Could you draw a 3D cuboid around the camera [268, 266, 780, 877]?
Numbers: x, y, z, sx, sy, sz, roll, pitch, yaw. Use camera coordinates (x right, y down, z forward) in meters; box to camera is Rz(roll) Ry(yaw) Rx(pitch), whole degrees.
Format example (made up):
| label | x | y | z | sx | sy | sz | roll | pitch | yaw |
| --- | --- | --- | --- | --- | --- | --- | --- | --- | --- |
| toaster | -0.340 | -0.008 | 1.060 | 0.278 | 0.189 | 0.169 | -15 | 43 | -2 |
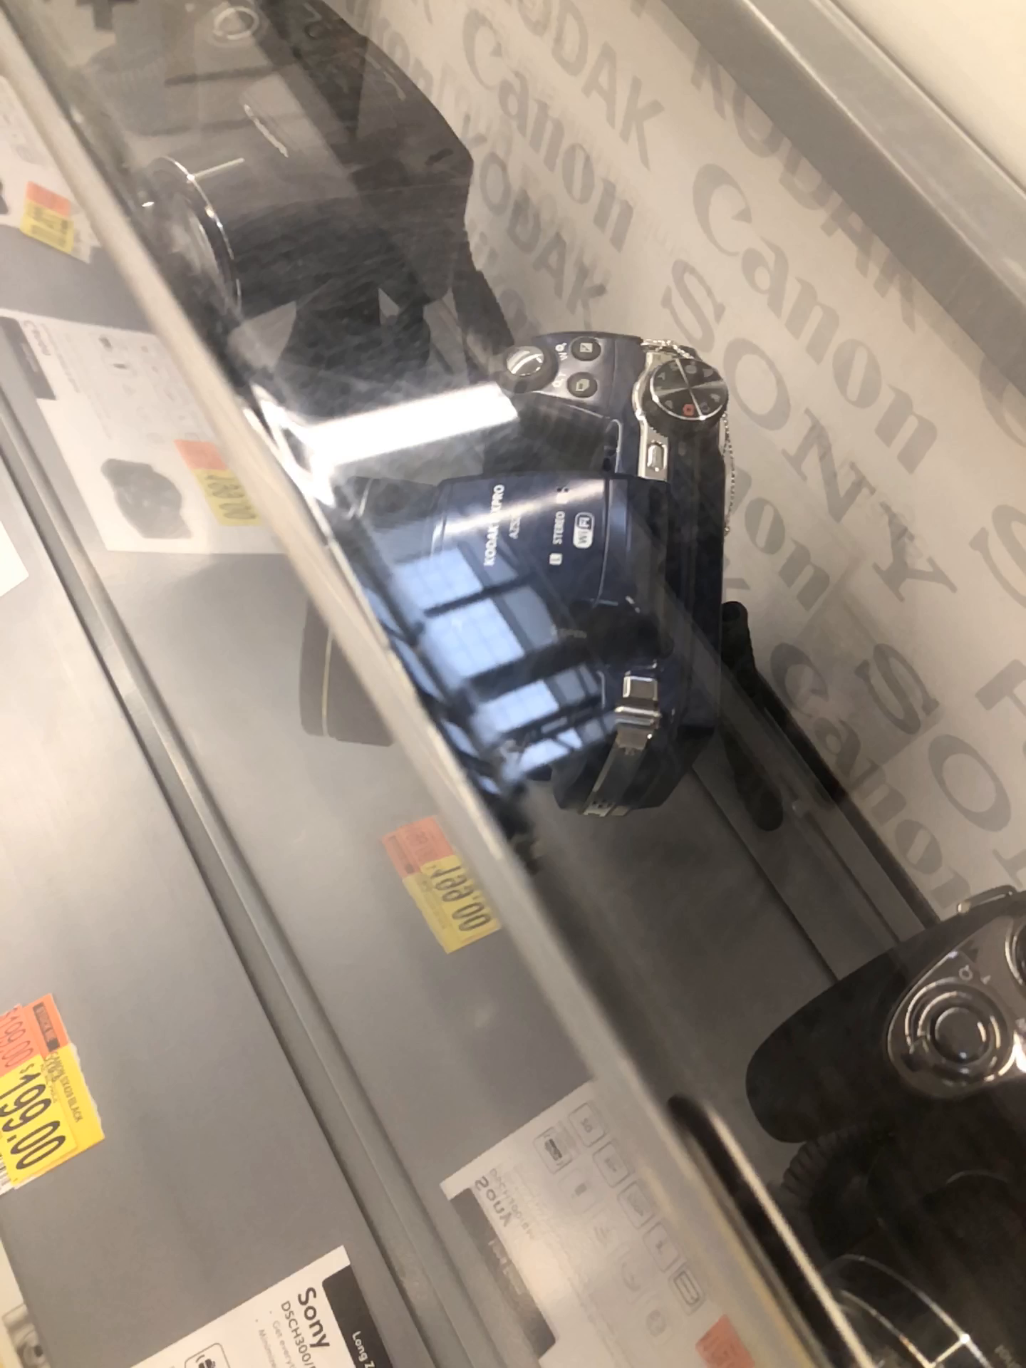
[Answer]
| label | x | y | z | sx | sy | sz | roll | pitch | yaw |
| --- | --- | --- | --- | --- | --- | --- | --- | --- | --- |
| camera | 0.000 | -0.027 | 0.311 | 0.110 | 0.090 | 0.120 | 9 | 59 | -8 |
